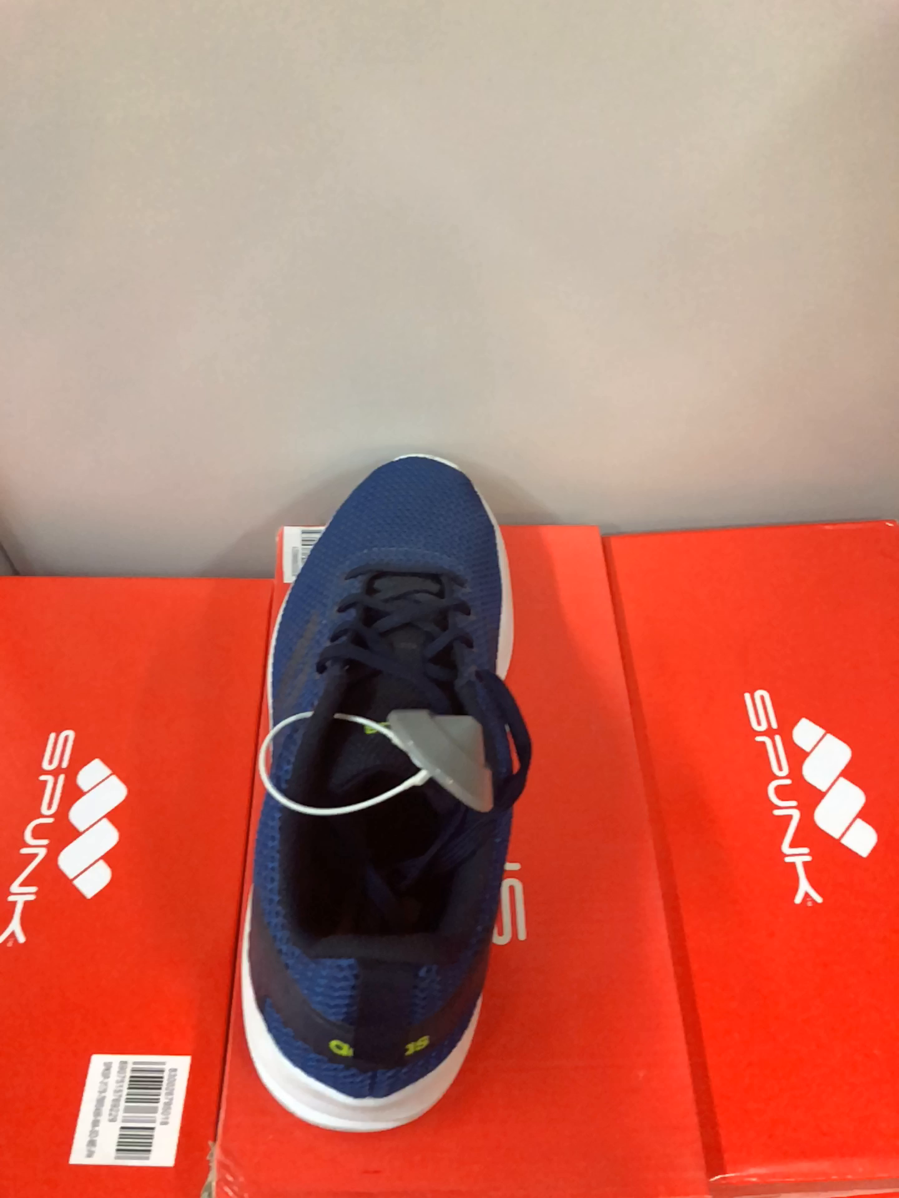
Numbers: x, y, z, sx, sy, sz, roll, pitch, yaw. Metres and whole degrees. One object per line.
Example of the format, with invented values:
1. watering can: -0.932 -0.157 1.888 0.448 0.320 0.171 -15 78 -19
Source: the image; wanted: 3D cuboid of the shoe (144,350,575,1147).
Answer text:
1. shoe: -0.026 0.035 0.411 0.113 0.114 0.317 1 46 -1
